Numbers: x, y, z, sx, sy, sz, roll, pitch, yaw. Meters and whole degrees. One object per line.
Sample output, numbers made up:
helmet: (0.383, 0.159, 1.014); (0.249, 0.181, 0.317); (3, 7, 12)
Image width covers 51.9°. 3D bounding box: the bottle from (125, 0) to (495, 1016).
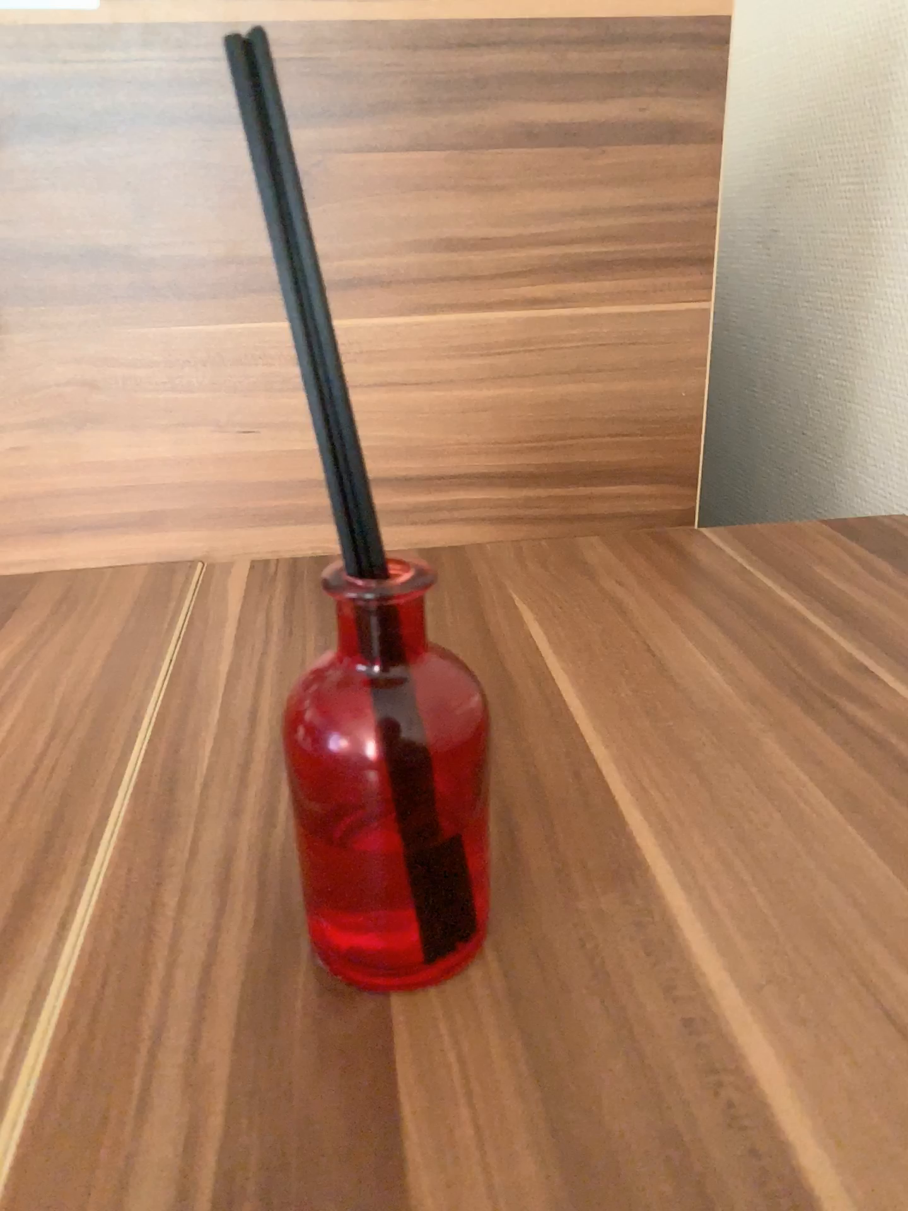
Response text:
bottle: (-0.024, -0.012, 0.228); (0.060, 0.239, 0.050); (-3, 22, -2)
